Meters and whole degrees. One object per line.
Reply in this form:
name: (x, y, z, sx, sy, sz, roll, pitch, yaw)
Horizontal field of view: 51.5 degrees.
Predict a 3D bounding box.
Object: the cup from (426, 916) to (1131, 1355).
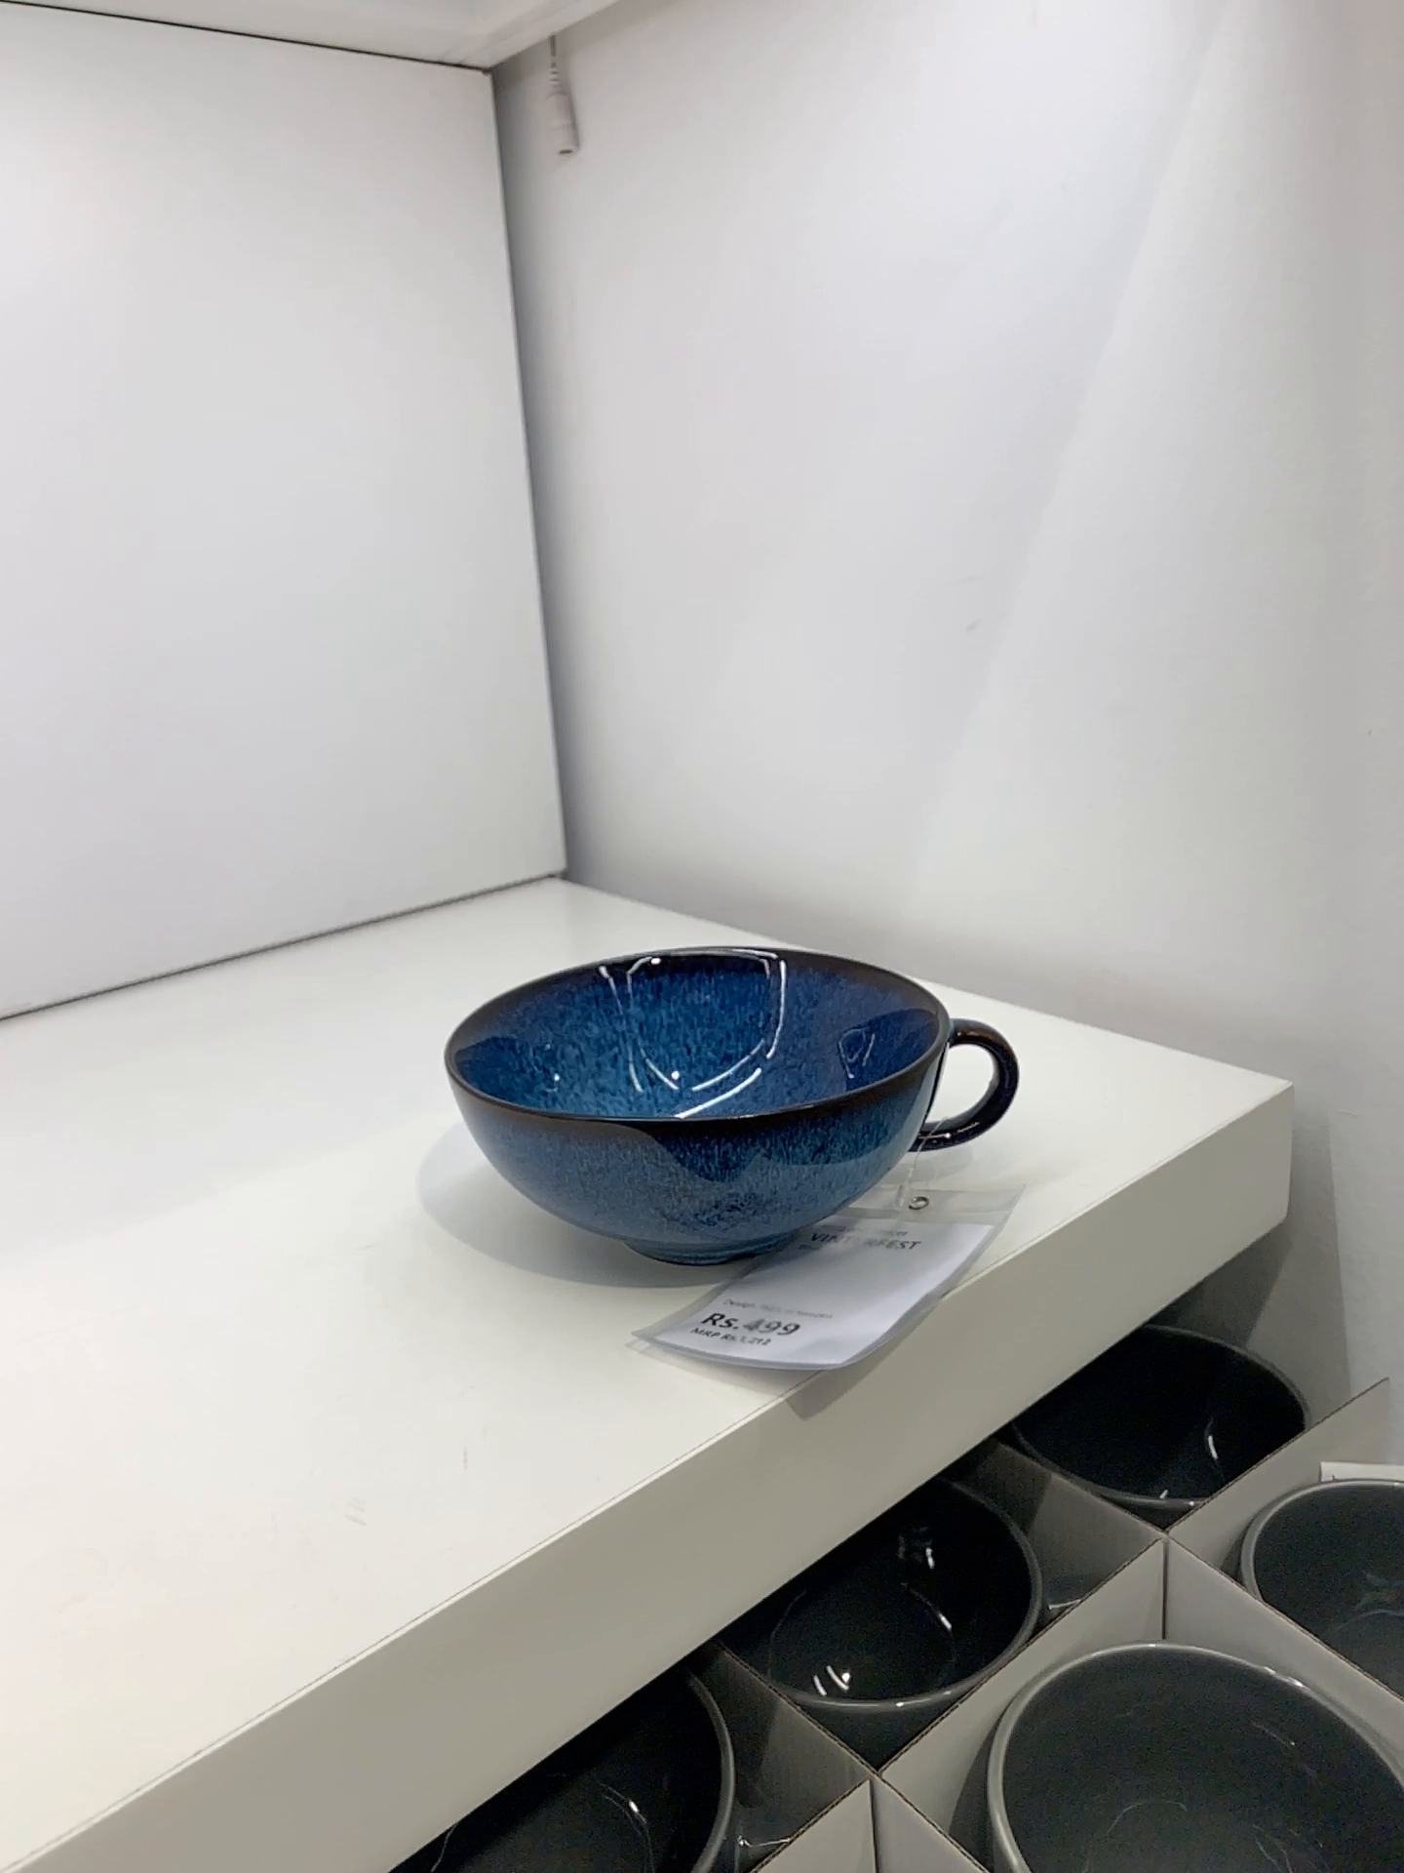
cup: (0.010, 0.043, 0.391, 0.160, 0.050, 0.130, -6, 16, -9)
